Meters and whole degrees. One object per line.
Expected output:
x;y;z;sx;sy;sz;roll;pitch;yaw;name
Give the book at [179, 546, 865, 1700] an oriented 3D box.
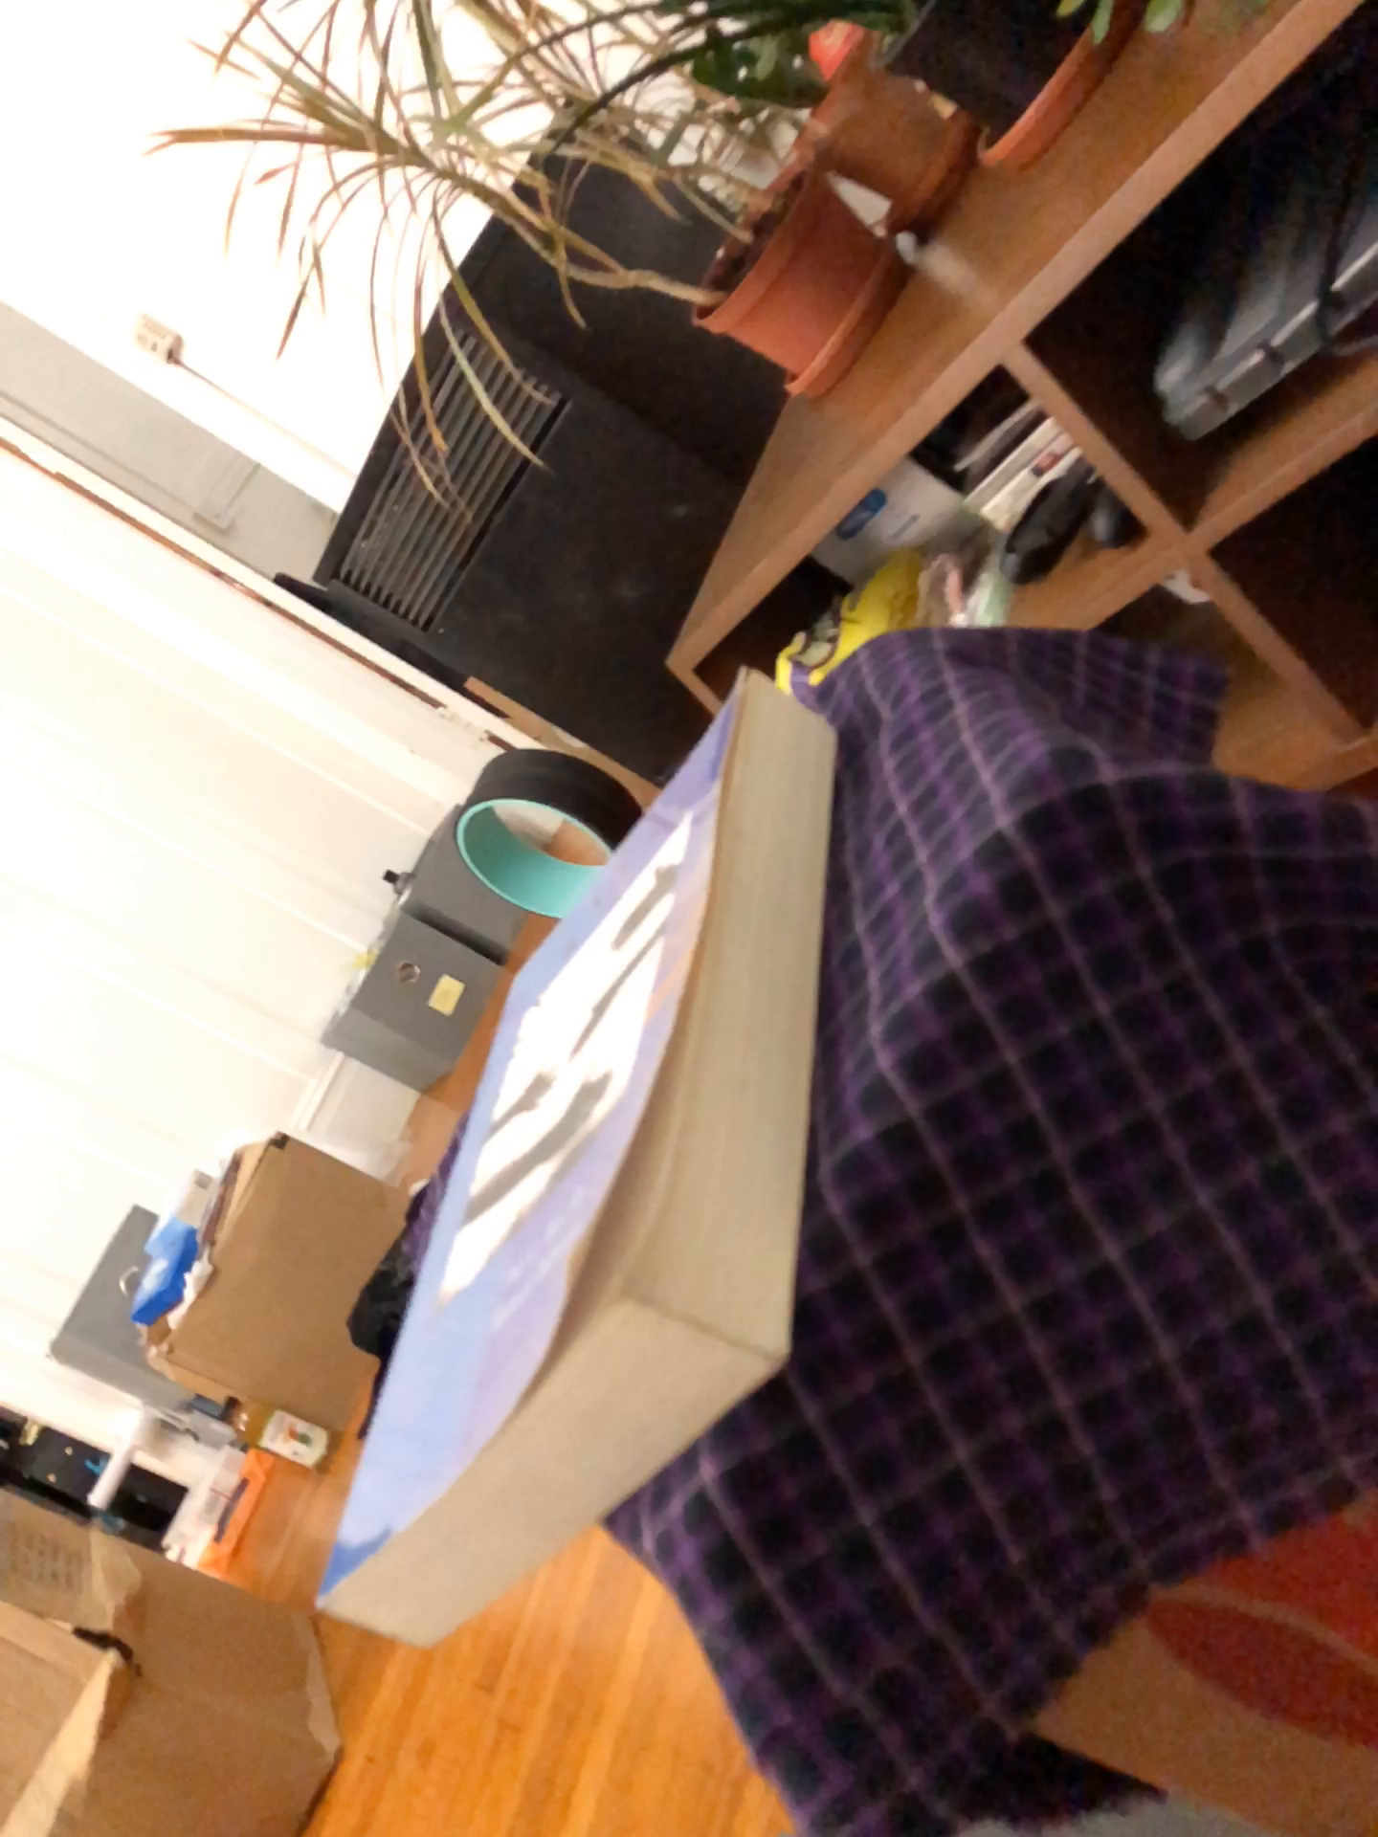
-0.034;0.041;0.410;0.200;0.040;0.261;-49;18;35;book
